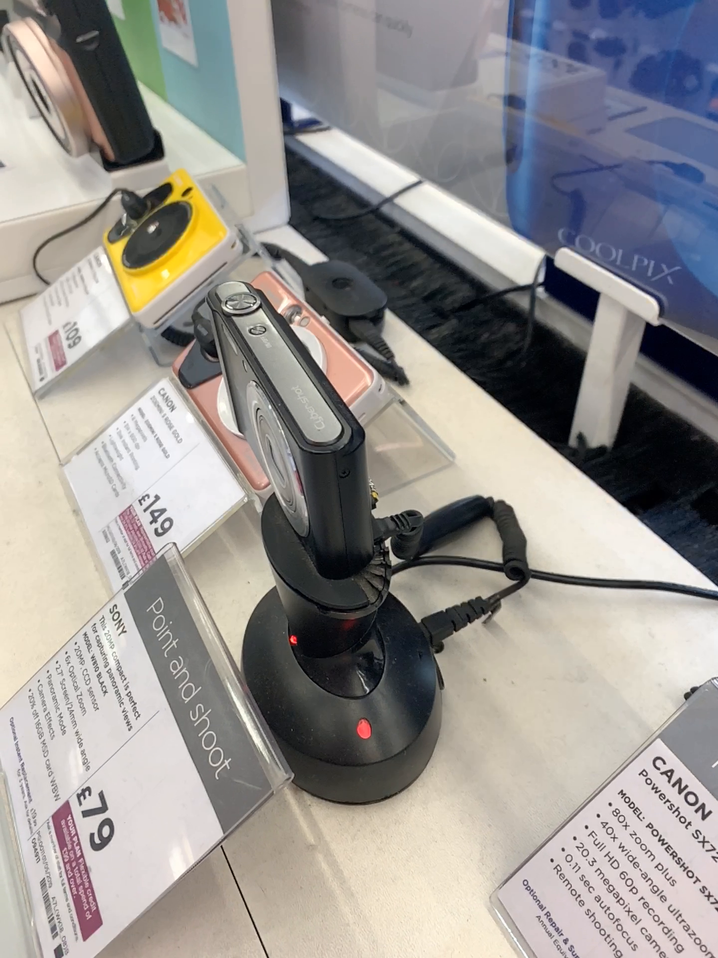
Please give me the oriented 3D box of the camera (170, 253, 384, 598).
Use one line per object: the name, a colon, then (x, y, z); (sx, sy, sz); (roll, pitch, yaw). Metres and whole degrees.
camera: (-0.028, -0.021, 0.241); (0.030, 0.059, 0.101); (-18, 45, -17)
